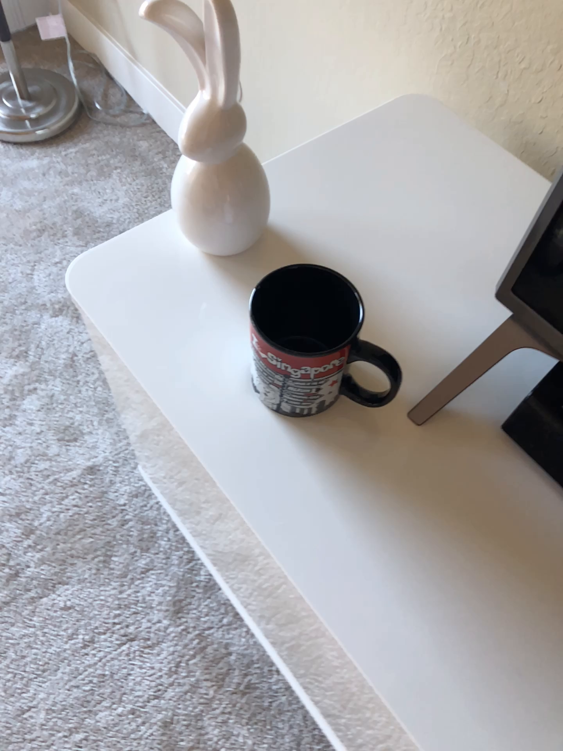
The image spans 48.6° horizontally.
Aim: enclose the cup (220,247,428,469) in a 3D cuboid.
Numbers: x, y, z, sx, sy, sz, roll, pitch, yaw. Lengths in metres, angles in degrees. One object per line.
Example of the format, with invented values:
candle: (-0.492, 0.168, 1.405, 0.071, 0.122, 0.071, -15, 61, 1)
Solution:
cup: (0.027, -0.011, 0.476, 0.120, 0.110, 0.080, 27, 61, 12)
